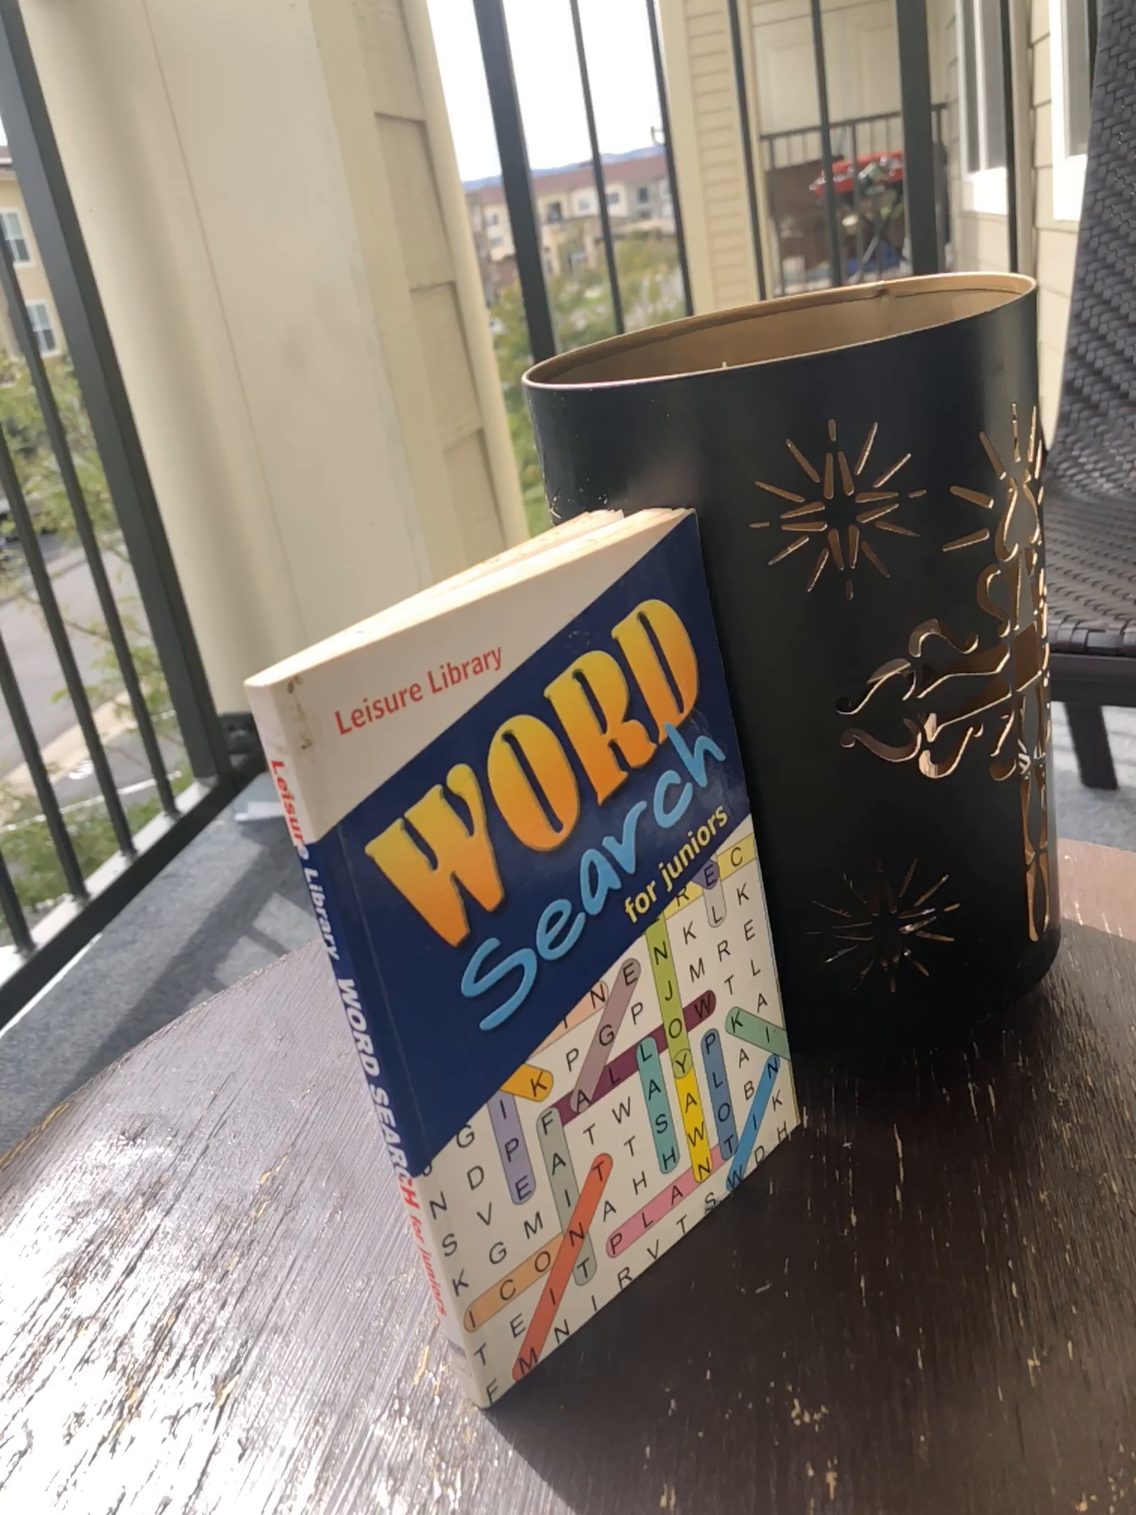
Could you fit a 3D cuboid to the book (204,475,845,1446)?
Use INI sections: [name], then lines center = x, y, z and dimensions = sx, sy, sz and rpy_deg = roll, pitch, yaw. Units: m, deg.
[book]
center = 0.004, 0.040, 0.291
dimensions = 0.125, 0.179, 0.031
rpy_deg = -28, 24, -38
